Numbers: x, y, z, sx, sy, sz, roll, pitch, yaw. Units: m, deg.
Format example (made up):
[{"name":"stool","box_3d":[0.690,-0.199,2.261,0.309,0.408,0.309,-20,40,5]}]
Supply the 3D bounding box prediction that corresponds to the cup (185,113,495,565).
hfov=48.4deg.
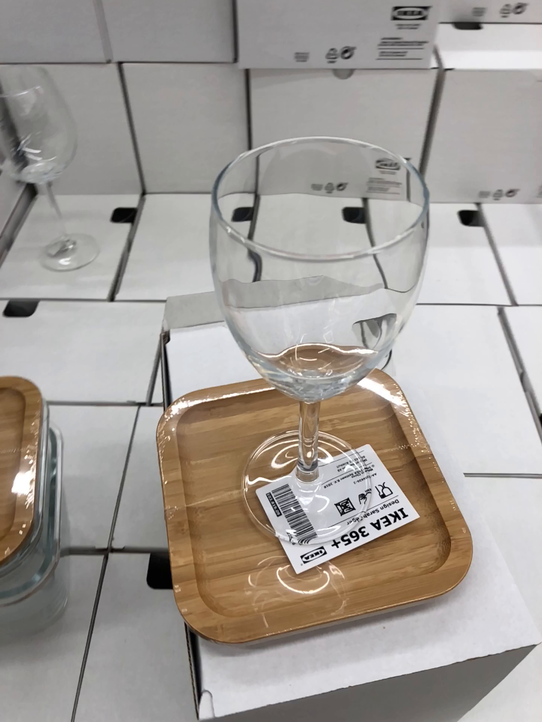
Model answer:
[{"name":"cup","box_3d":[0.017,0.005,0.248,0.080,0.179,0.080,0,48,0]}]
